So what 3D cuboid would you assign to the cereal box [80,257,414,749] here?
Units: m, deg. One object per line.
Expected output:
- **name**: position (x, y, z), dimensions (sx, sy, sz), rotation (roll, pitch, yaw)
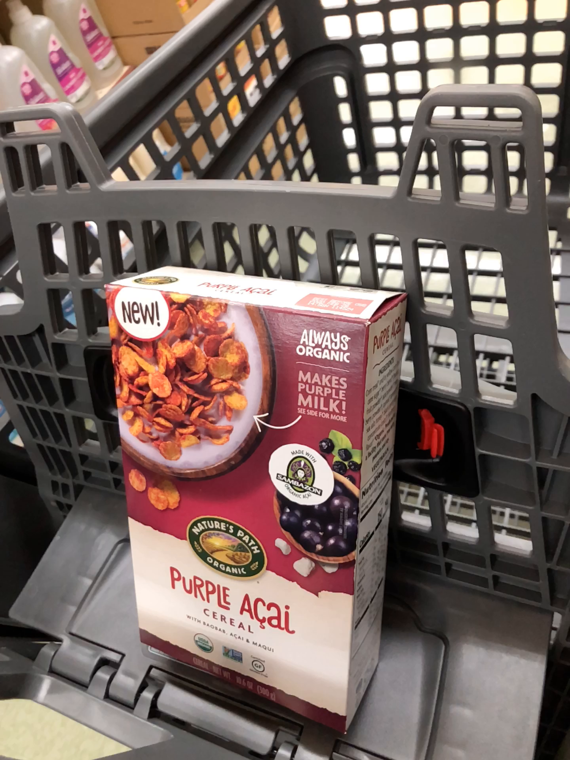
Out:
- **cereal box**: position (-0.024, 0.072, 0.397), dimensions (0.170, 0.270, 0.070), rotation (11, 24, 24)
